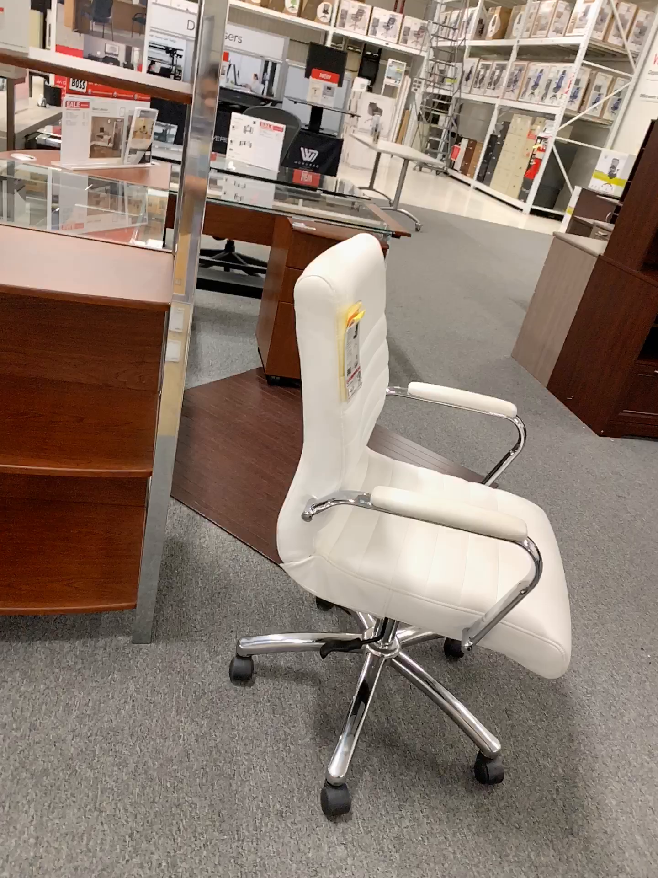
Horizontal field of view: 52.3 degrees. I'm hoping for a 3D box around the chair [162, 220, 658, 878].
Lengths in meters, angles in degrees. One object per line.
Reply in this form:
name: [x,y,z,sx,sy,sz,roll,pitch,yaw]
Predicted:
chair: [0.182,0.165,1.277,0.680,0.906,0.623,17,27,7]
